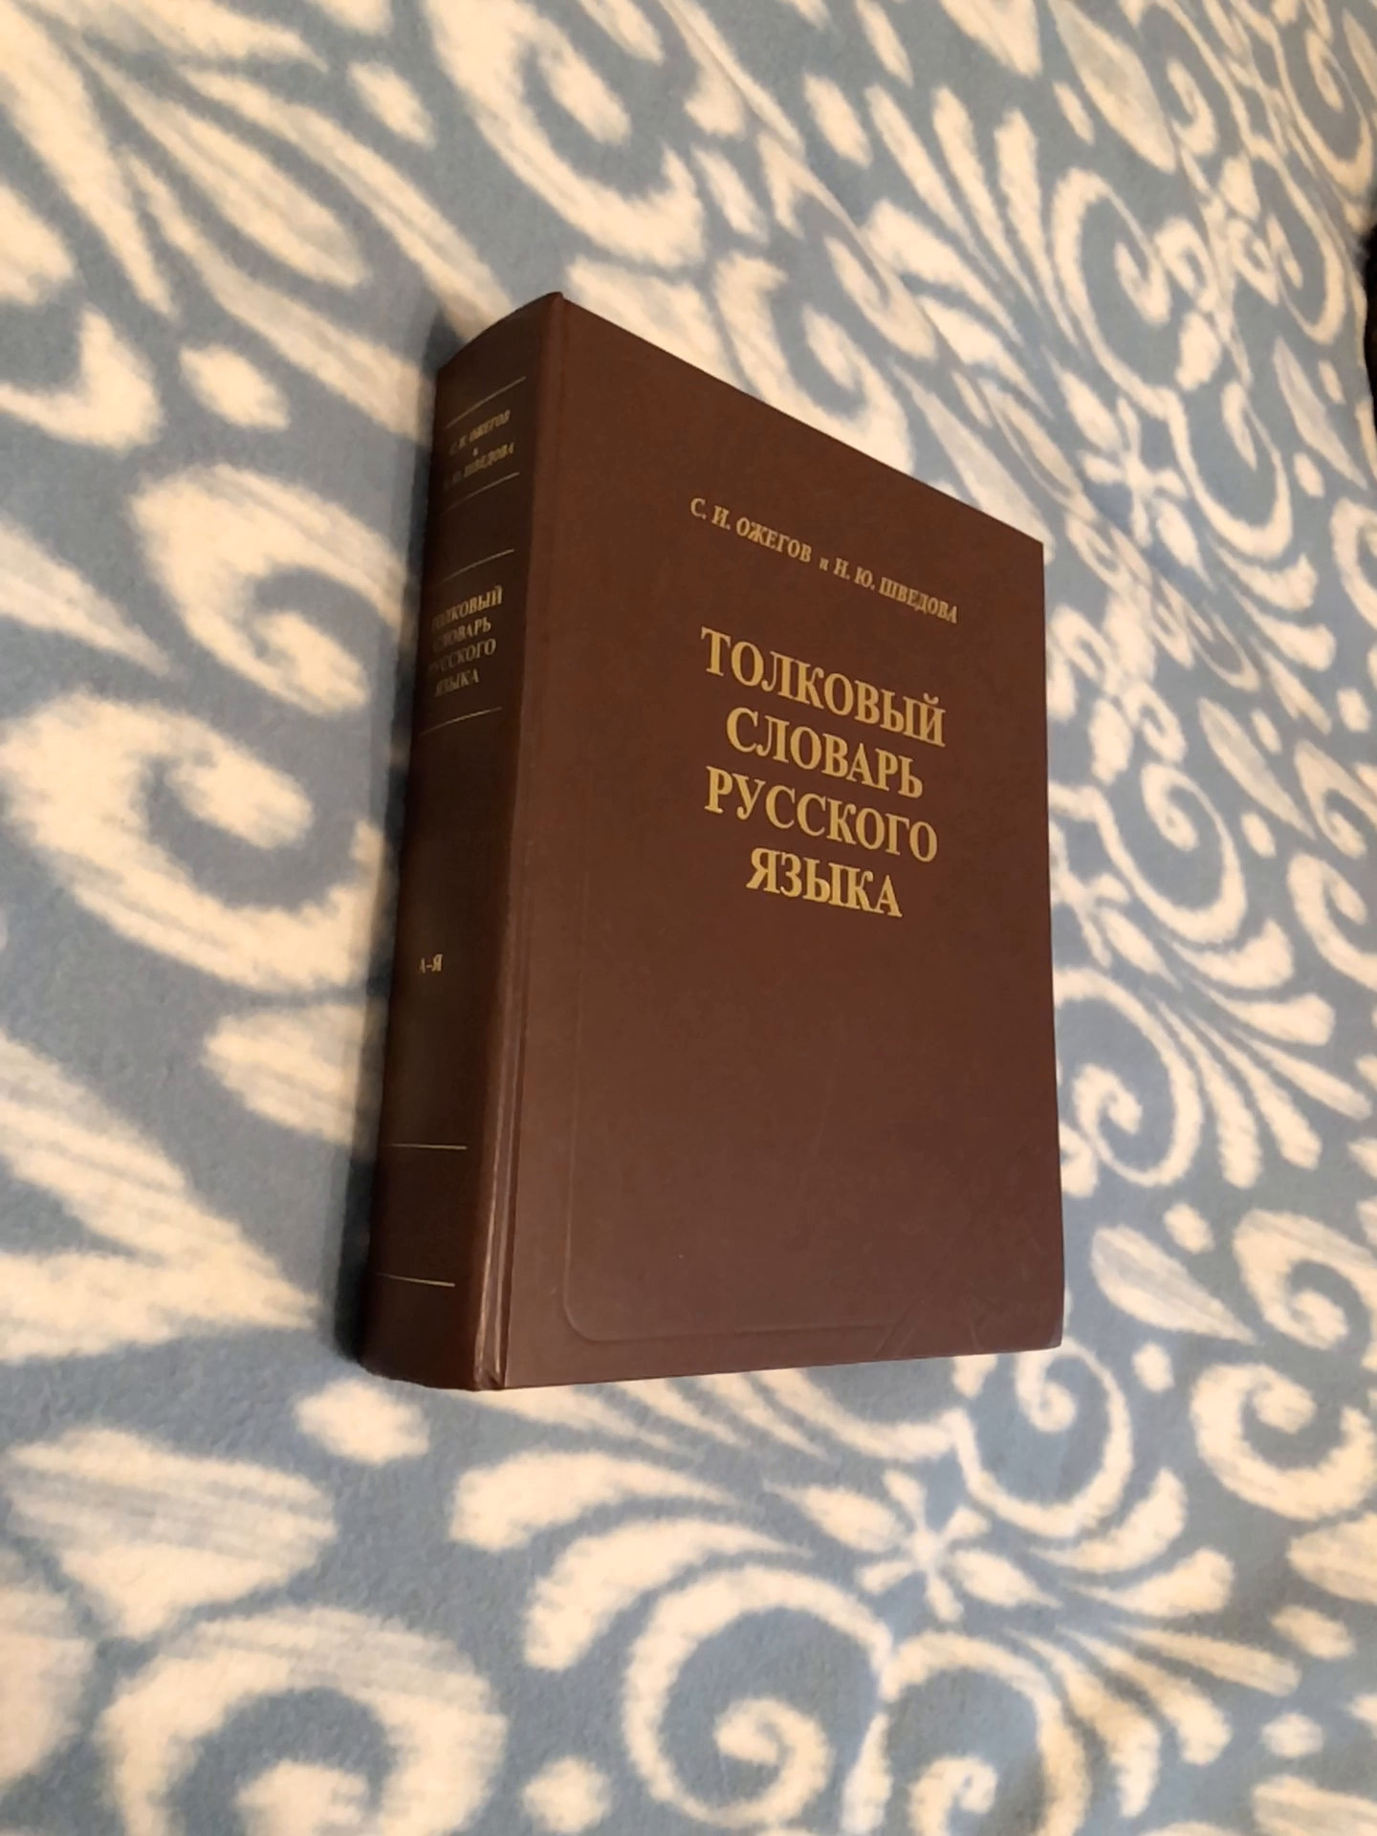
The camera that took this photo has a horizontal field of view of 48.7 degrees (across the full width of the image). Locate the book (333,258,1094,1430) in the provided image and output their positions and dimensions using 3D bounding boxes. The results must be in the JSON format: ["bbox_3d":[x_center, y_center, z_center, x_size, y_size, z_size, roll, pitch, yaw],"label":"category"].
[{"bbox_3d":[0.024,-0.006,0.439,0.221,0.067,0.270,12,76,-41],"label":"book"}]
